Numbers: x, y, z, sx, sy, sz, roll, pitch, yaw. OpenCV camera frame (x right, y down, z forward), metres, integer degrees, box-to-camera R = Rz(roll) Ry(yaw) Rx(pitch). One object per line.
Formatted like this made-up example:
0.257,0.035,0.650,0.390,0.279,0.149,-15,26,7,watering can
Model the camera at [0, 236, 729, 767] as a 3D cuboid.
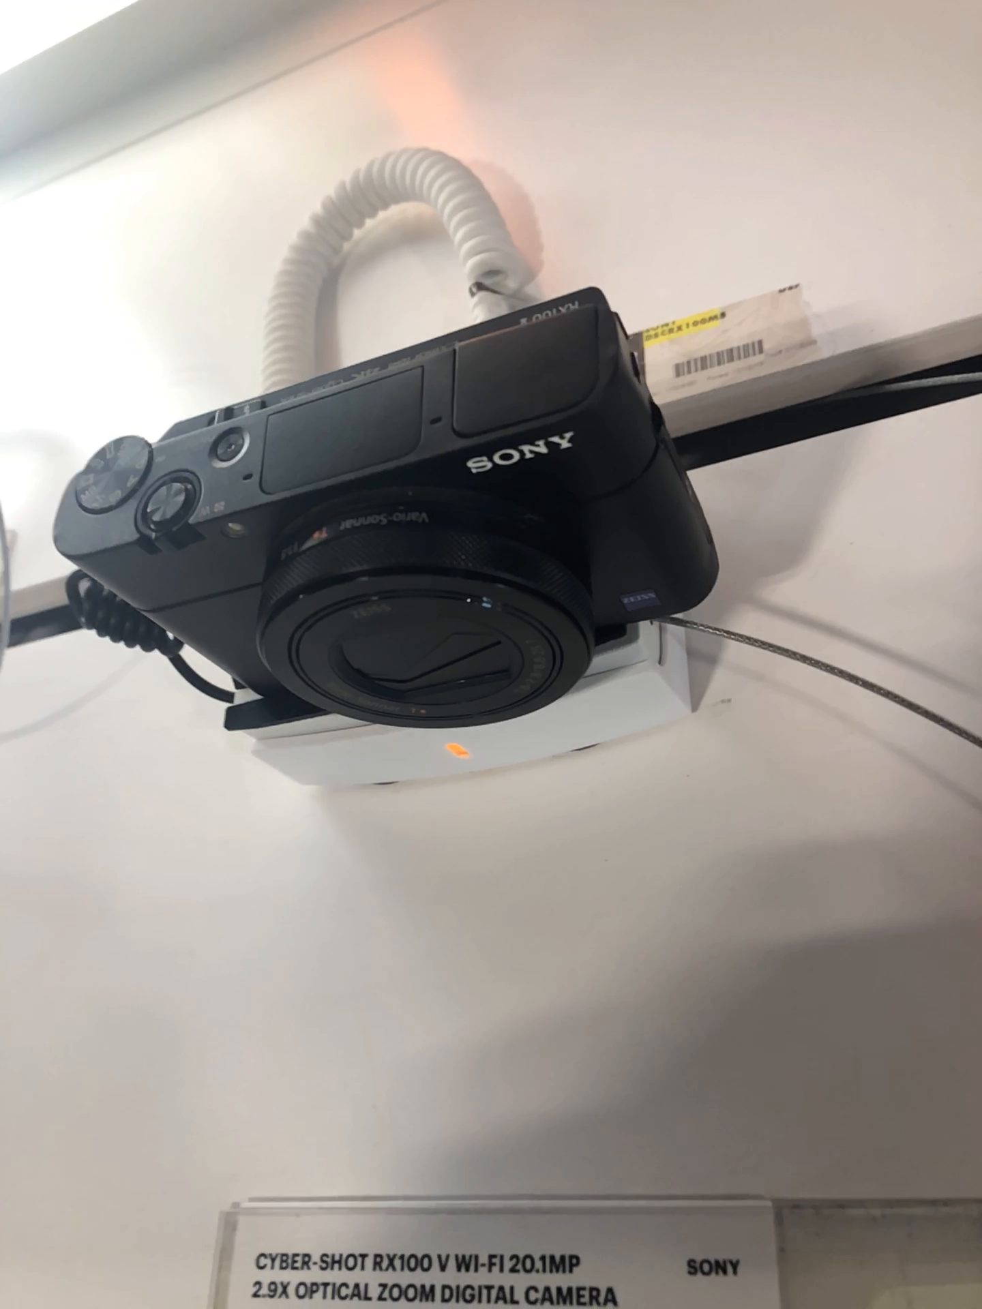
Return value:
-0.021,-0.016,0.176,0.101,0.063,0.032,-12,58,22,camera
